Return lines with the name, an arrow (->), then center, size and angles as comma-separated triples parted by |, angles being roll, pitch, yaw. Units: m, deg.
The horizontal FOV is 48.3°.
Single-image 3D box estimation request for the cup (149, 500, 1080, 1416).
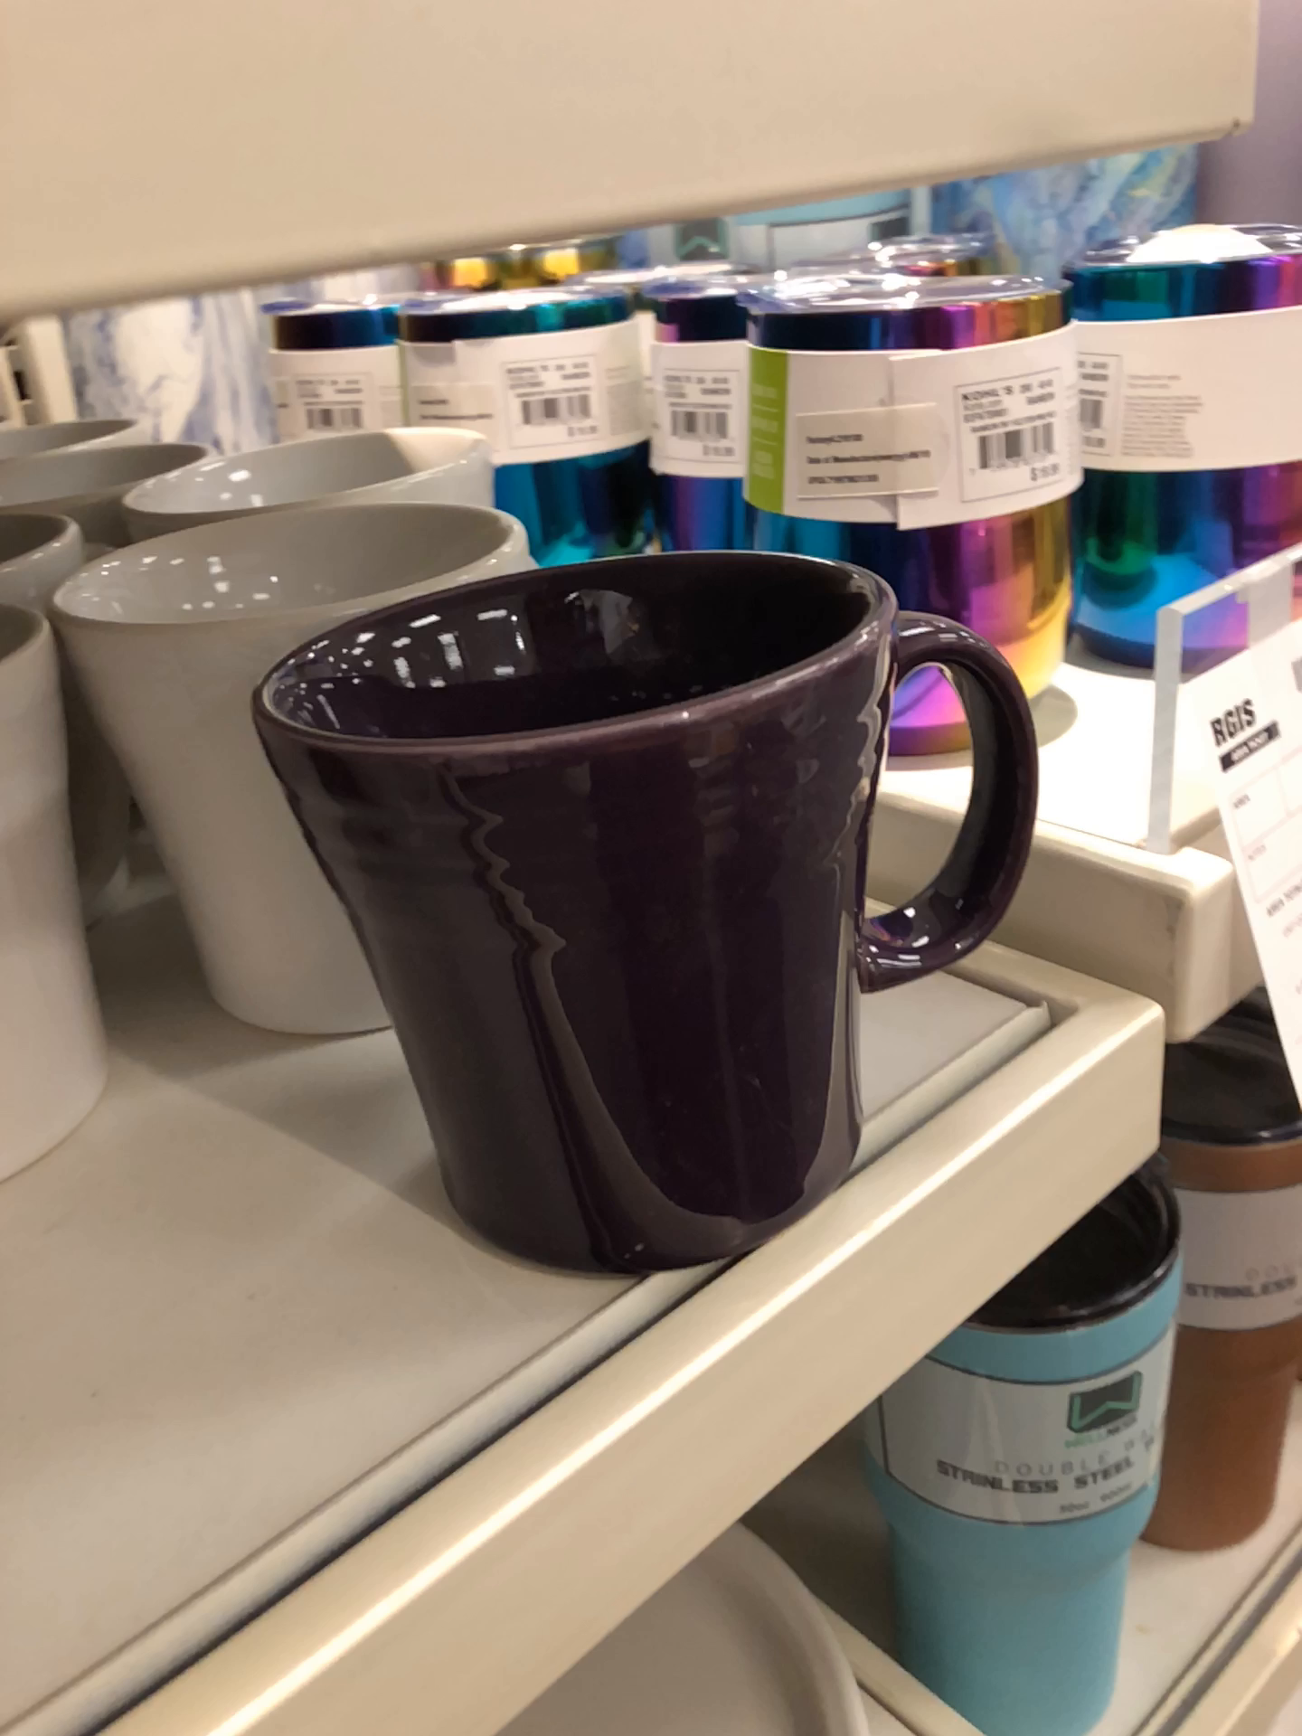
cup -> 0.000, 0.002, 0.261 | 0.127, 0.099, 0.090 | -26, 33, -36
